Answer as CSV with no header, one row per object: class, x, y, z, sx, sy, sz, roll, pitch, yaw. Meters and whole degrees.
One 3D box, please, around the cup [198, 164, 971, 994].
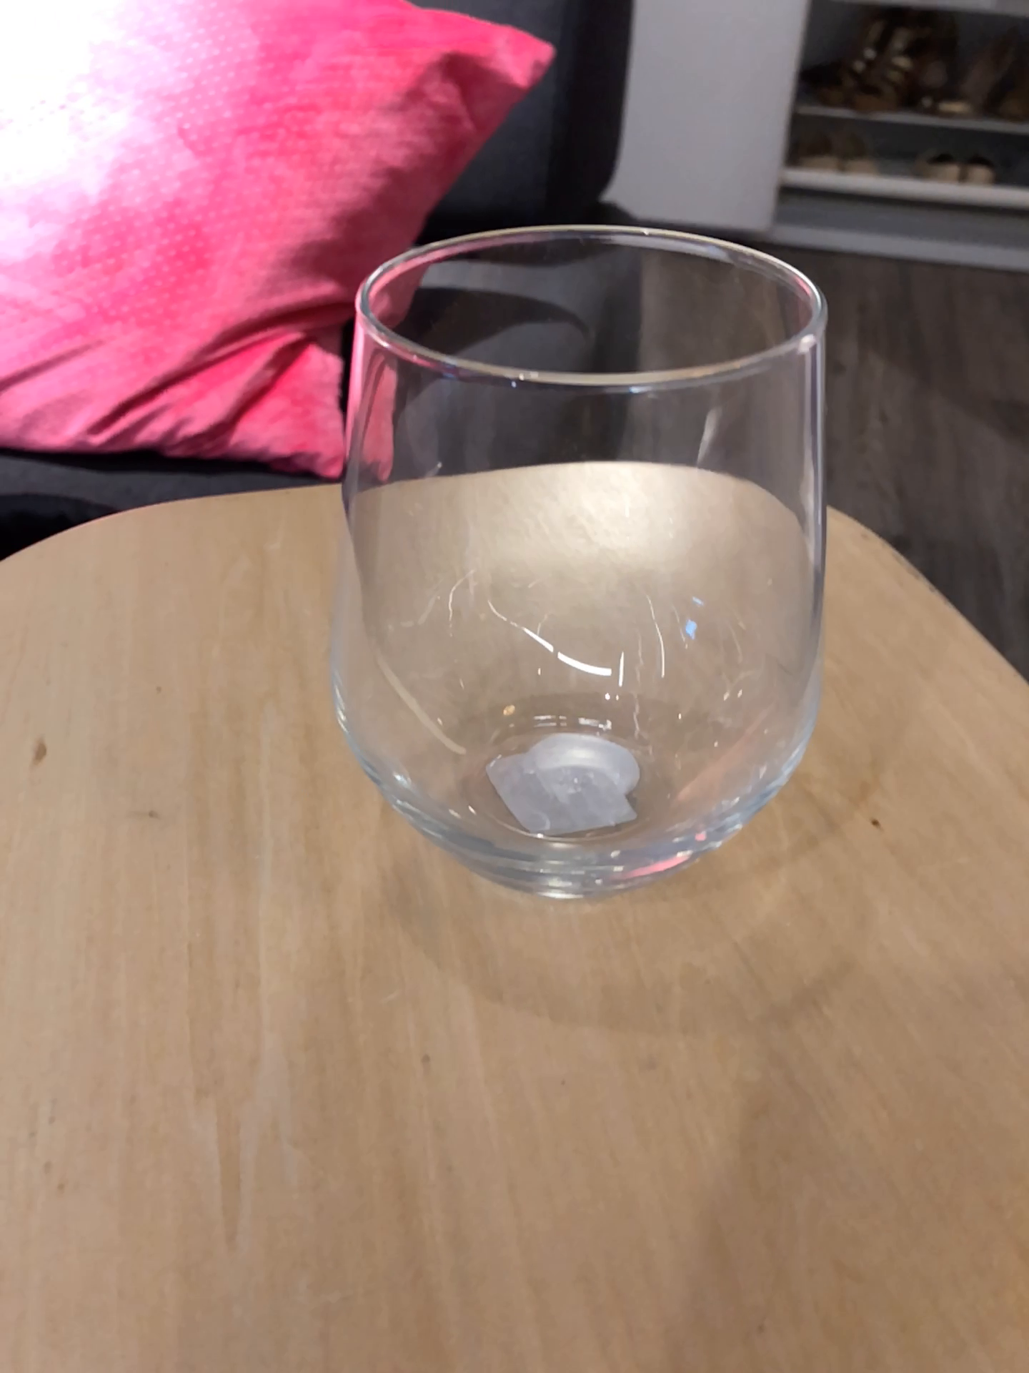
cup,0.013,-0.022,0.199,0.090,0.100,0.090,1,38,-1
